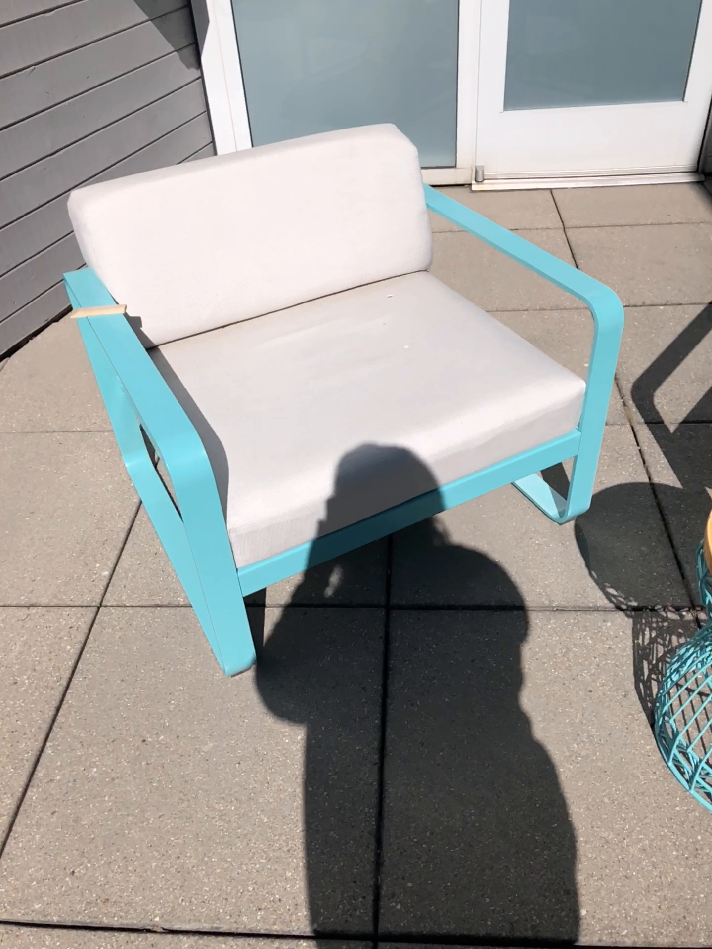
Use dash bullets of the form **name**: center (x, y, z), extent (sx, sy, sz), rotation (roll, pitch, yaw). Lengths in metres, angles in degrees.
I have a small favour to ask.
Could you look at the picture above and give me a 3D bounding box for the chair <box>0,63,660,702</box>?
- **chair**: center (-0.099, -0.279, 1.626), extent (0.901, 0.766, 0.874), rotation (-22, 42, -20)
